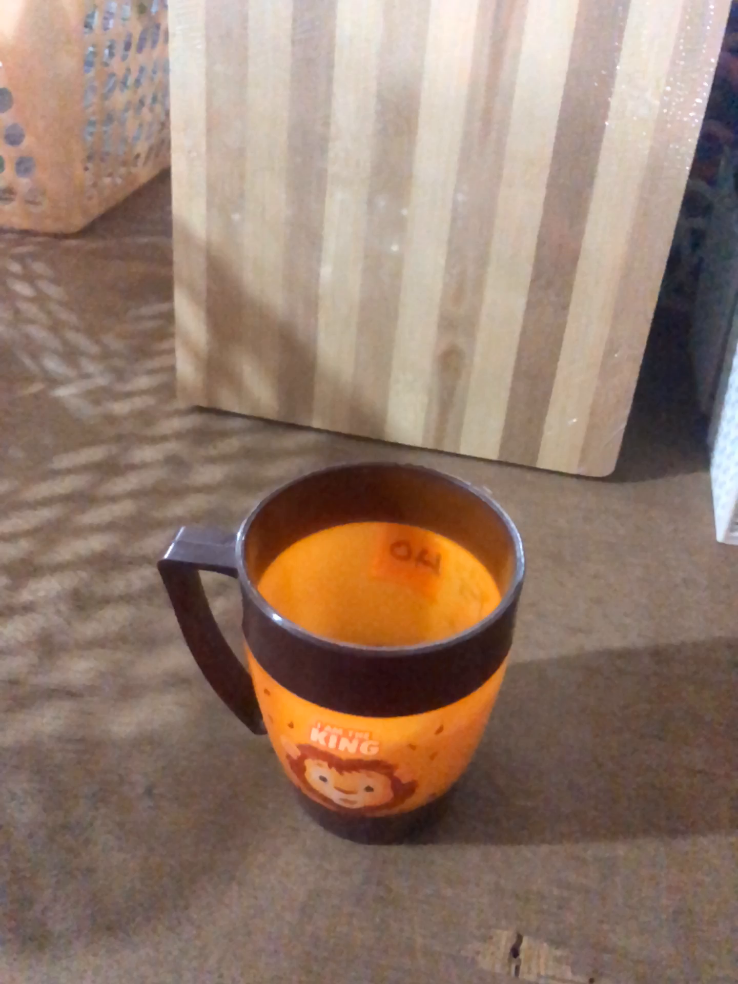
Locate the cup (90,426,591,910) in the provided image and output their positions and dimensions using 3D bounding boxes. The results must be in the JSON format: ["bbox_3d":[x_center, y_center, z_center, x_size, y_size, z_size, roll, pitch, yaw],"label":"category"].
[{"bbox_3d":[-0.003,0.045,0.215,0.100,0.090,0.060,11,41,12],"label":"cup"}]
